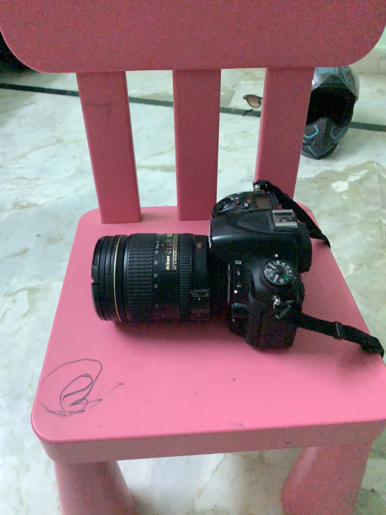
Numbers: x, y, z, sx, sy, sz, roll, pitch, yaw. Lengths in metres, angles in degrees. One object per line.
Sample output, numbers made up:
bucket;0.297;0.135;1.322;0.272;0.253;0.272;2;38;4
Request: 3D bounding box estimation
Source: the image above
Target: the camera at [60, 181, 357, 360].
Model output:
camera;0.010;0.006;0.359;0.210;0.080;0.140;-1;45;-1
